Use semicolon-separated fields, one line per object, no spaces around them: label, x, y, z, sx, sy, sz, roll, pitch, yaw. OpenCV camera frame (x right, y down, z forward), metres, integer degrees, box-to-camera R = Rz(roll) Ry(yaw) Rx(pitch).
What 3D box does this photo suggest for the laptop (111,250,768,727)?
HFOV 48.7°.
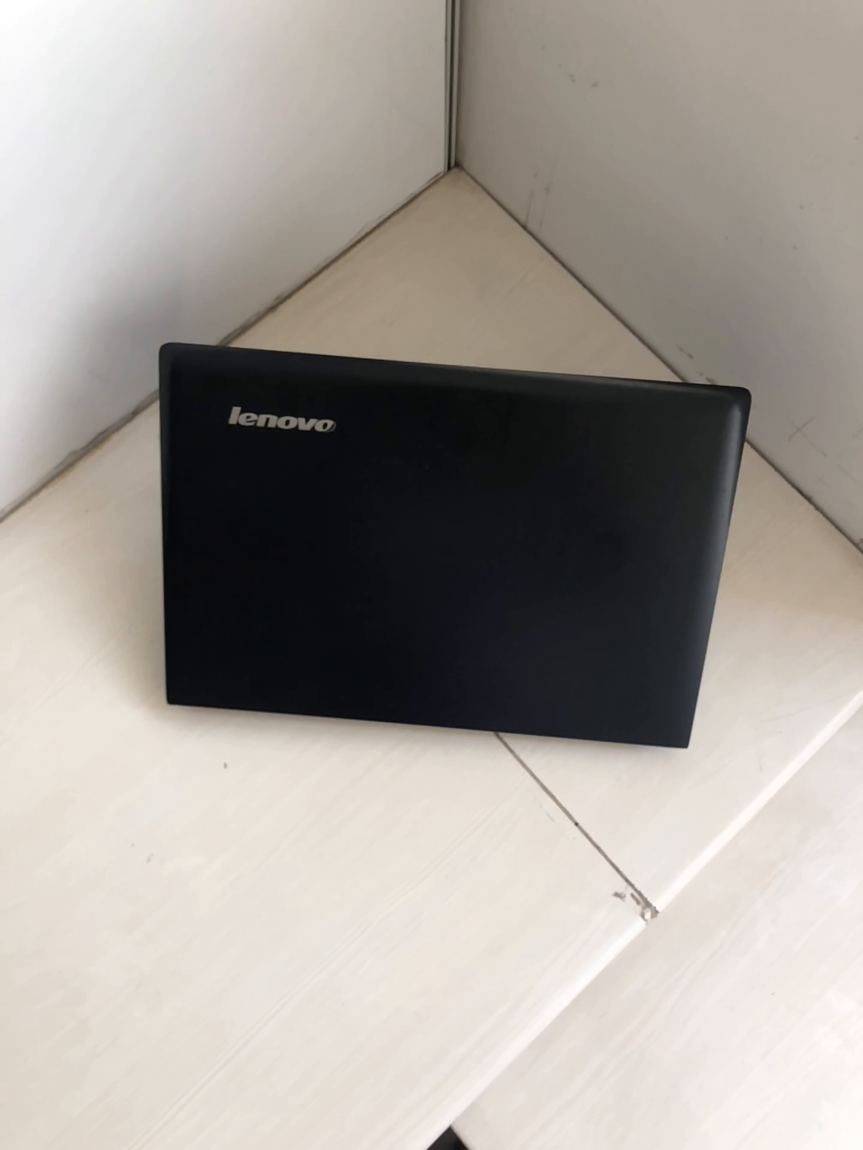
laptop;0.010;-0.046;0.655;0.374;0.162;0.252;5;79;1
